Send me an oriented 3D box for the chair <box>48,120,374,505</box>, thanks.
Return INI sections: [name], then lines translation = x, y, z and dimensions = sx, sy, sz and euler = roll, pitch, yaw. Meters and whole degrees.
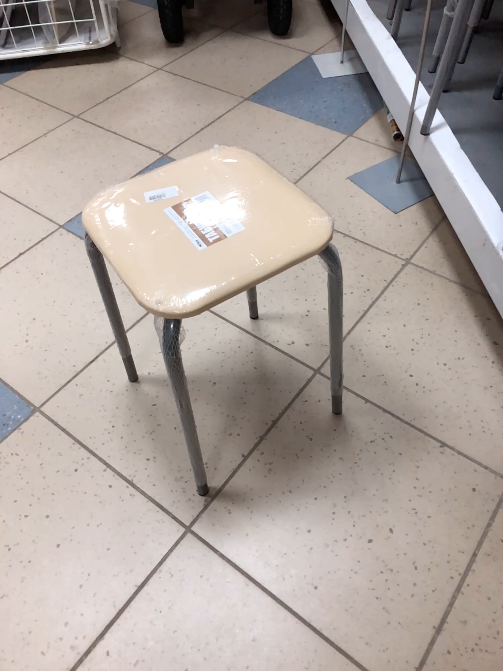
[chair]
translation = -0.060, -0.029, 0.900
dimensions = 0.311, 0.437, 0.341
euler = -26, 54, -18
